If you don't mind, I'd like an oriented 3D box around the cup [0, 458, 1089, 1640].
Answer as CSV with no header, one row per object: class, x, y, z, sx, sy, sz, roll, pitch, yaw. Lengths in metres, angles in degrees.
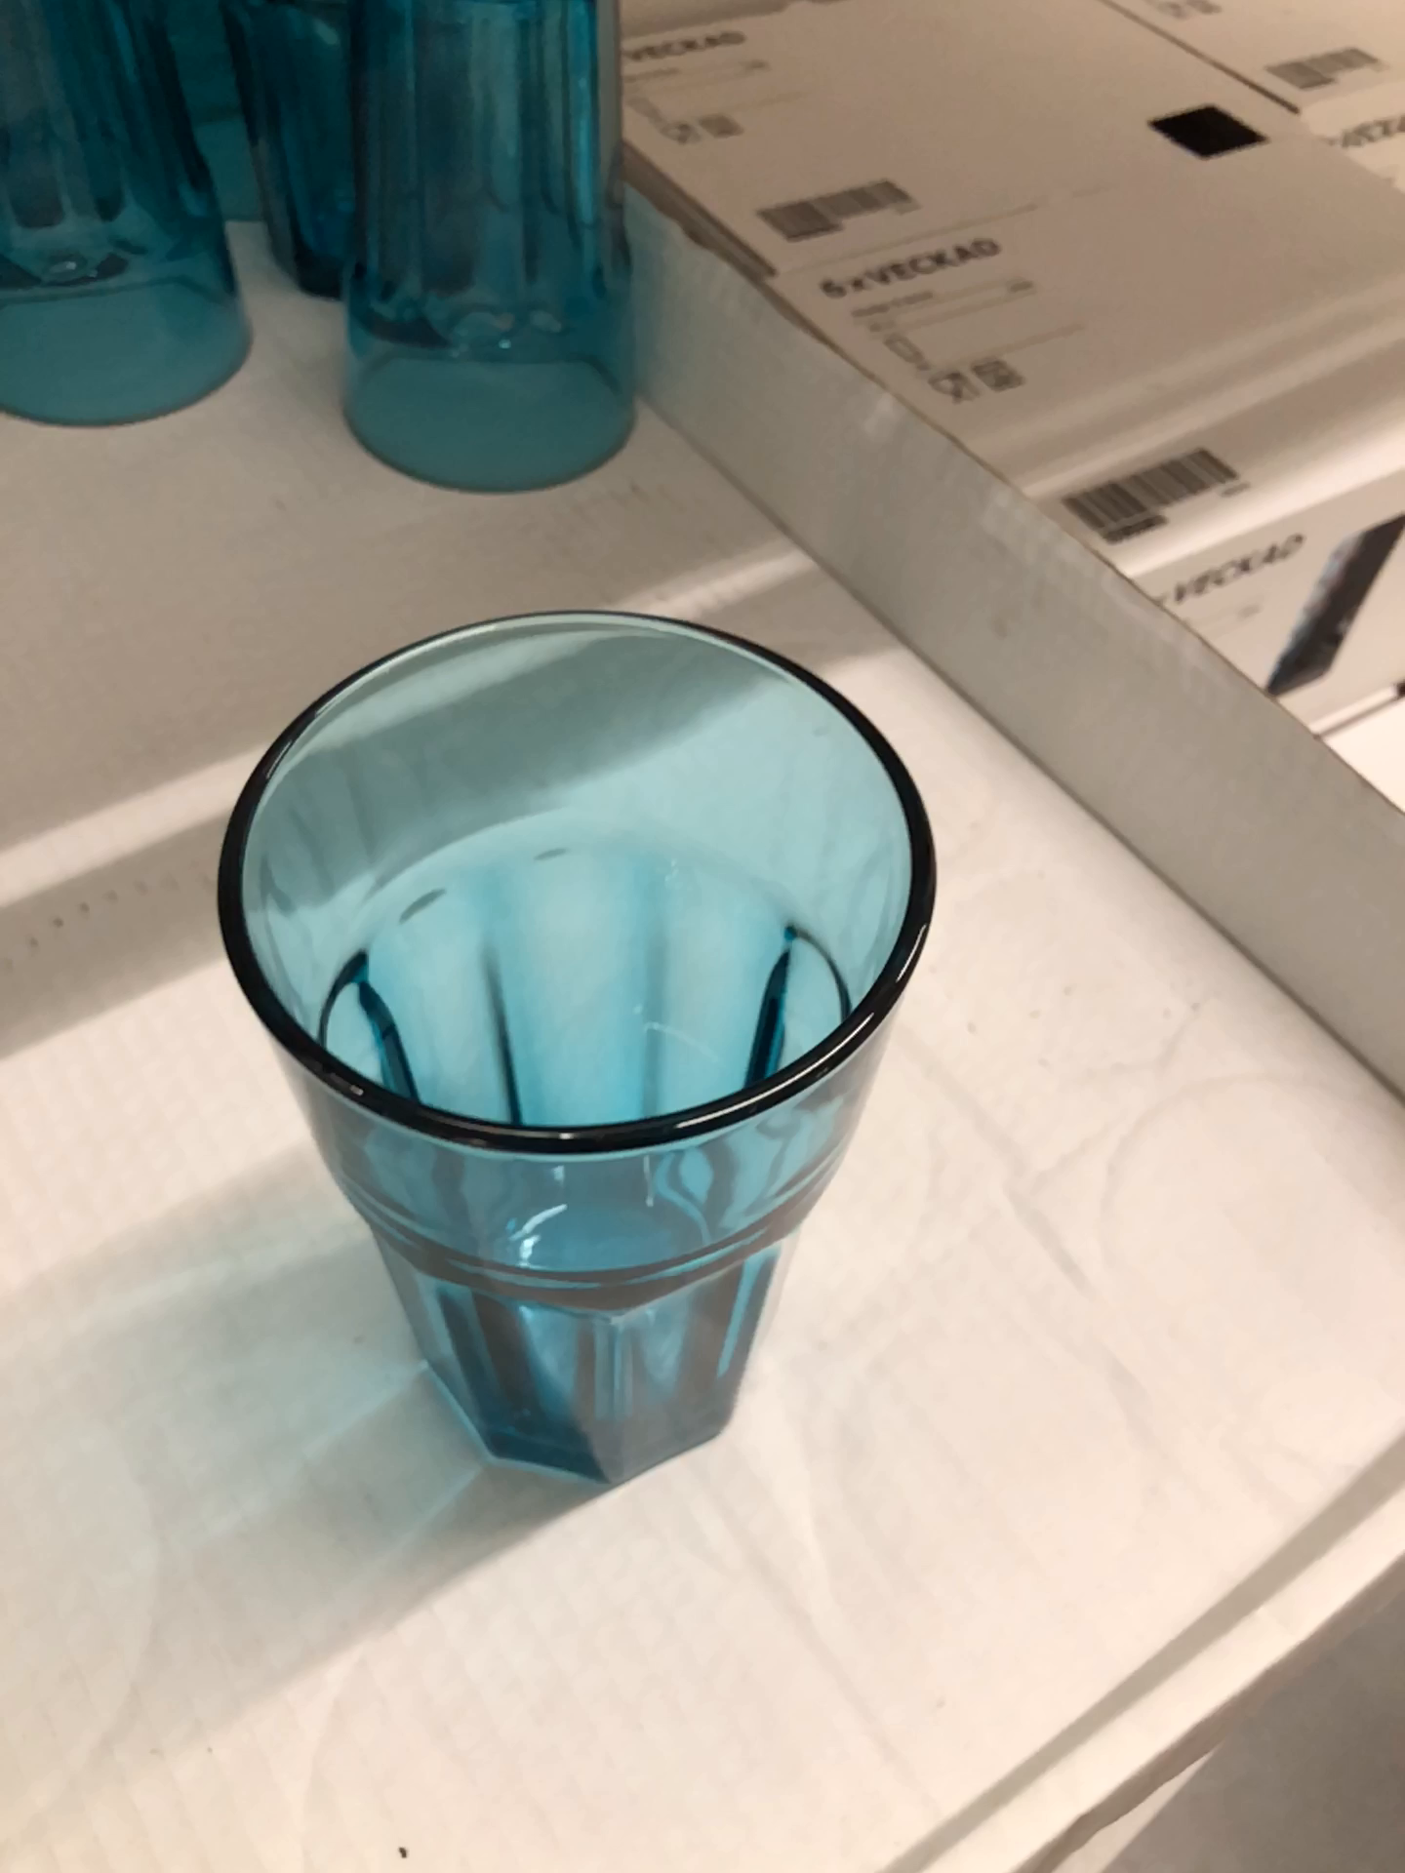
cup,-0.025,0.015,0.214,0.089,0.102,0.092,2,51,-3
